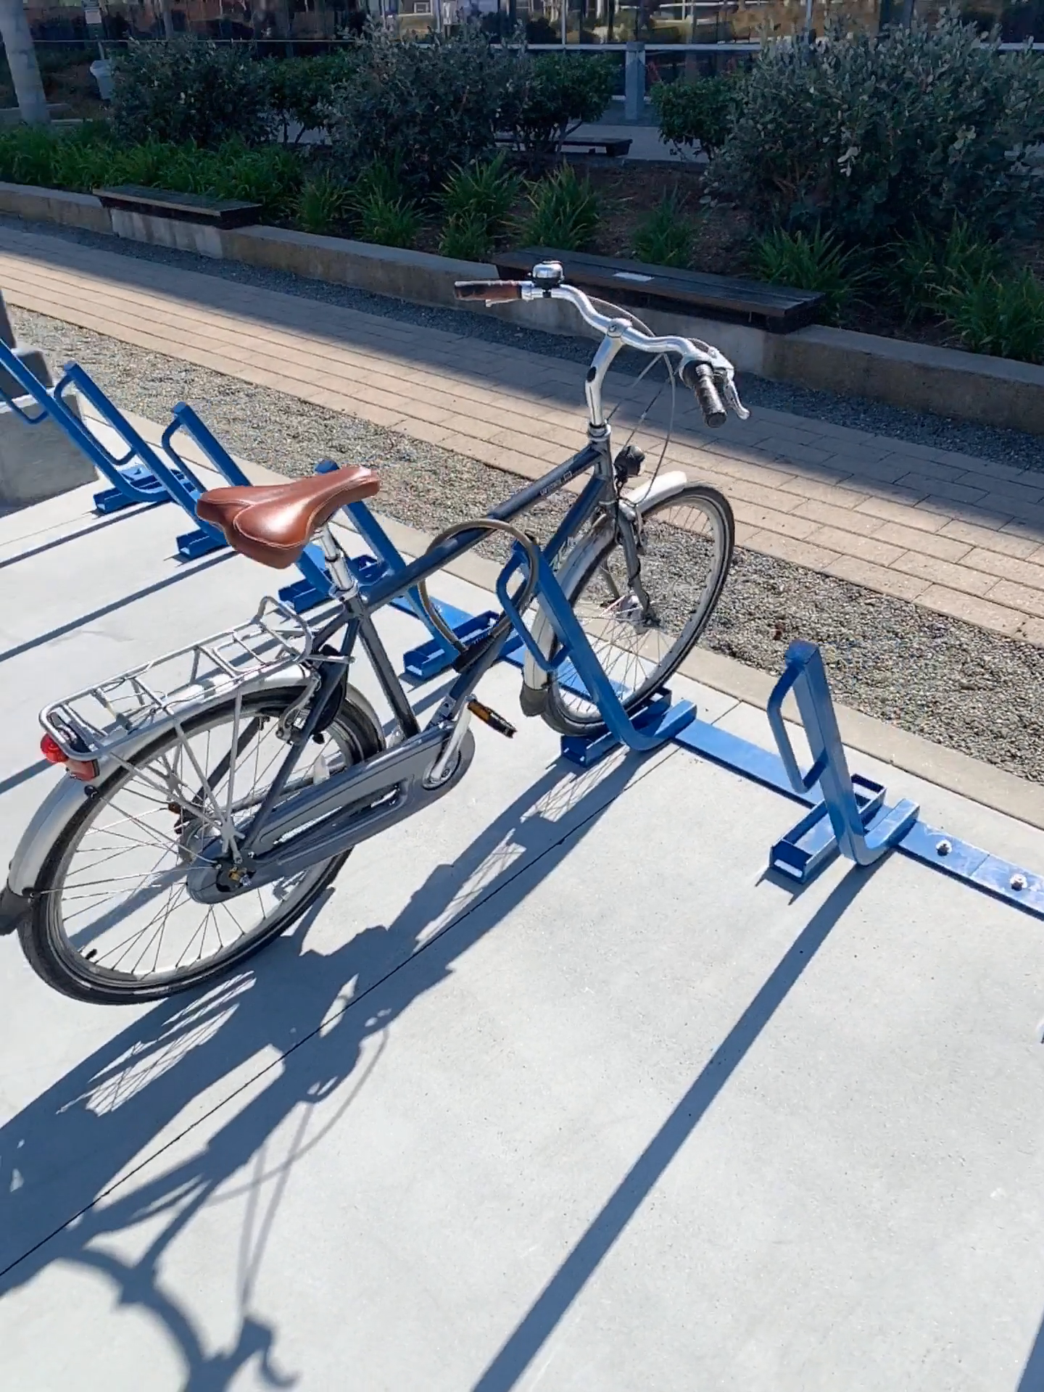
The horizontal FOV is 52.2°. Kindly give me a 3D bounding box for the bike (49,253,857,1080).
[{"bbox_3d":[-0.048,-0.141,1.809,1.062,0.915,0.593,-28,41,-33],"label":"bike"}]
